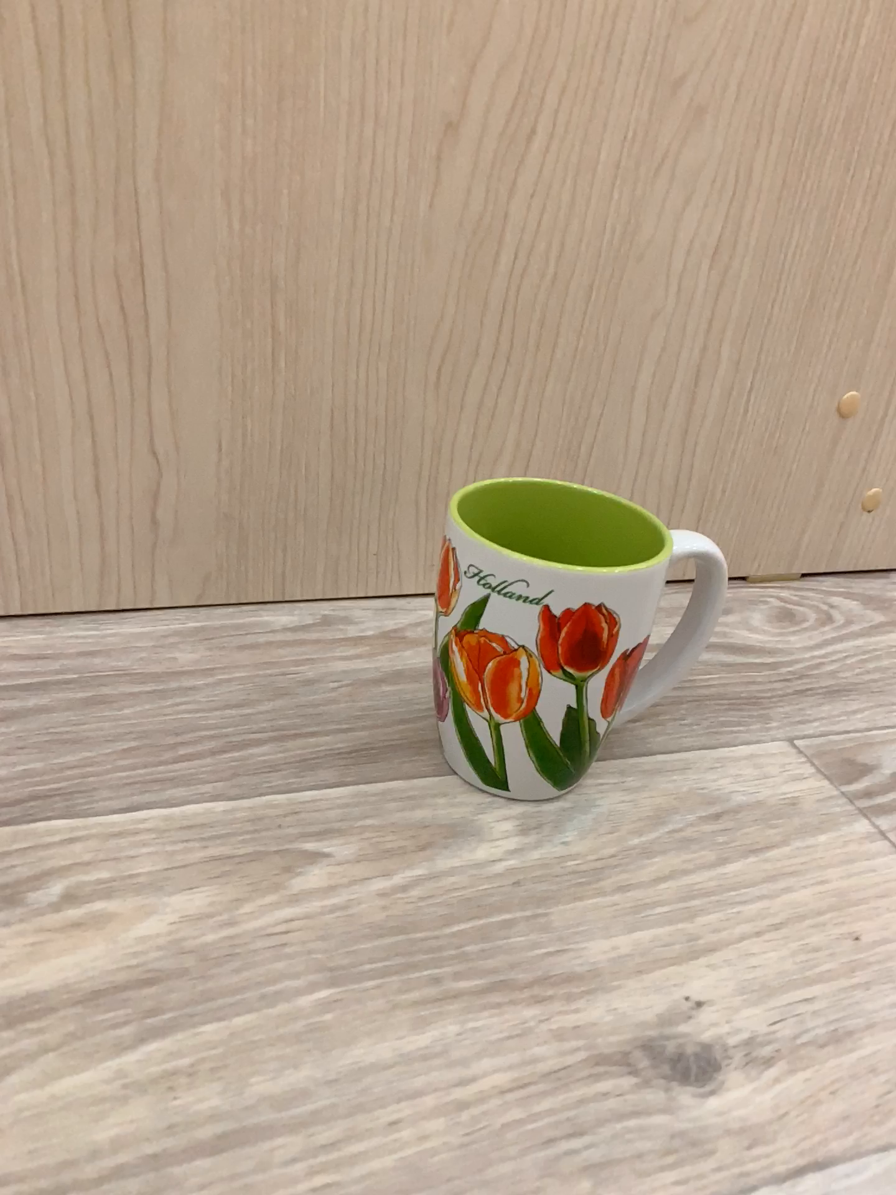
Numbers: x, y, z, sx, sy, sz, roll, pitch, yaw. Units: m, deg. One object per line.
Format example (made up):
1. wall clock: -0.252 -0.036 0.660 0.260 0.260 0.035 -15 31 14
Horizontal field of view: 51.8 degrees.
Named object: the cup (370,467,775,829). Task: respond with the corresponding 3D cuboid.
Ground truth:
1. cup: 0.043 0.013 0.369 0.118 0.101 0.084 -6 30 -26
